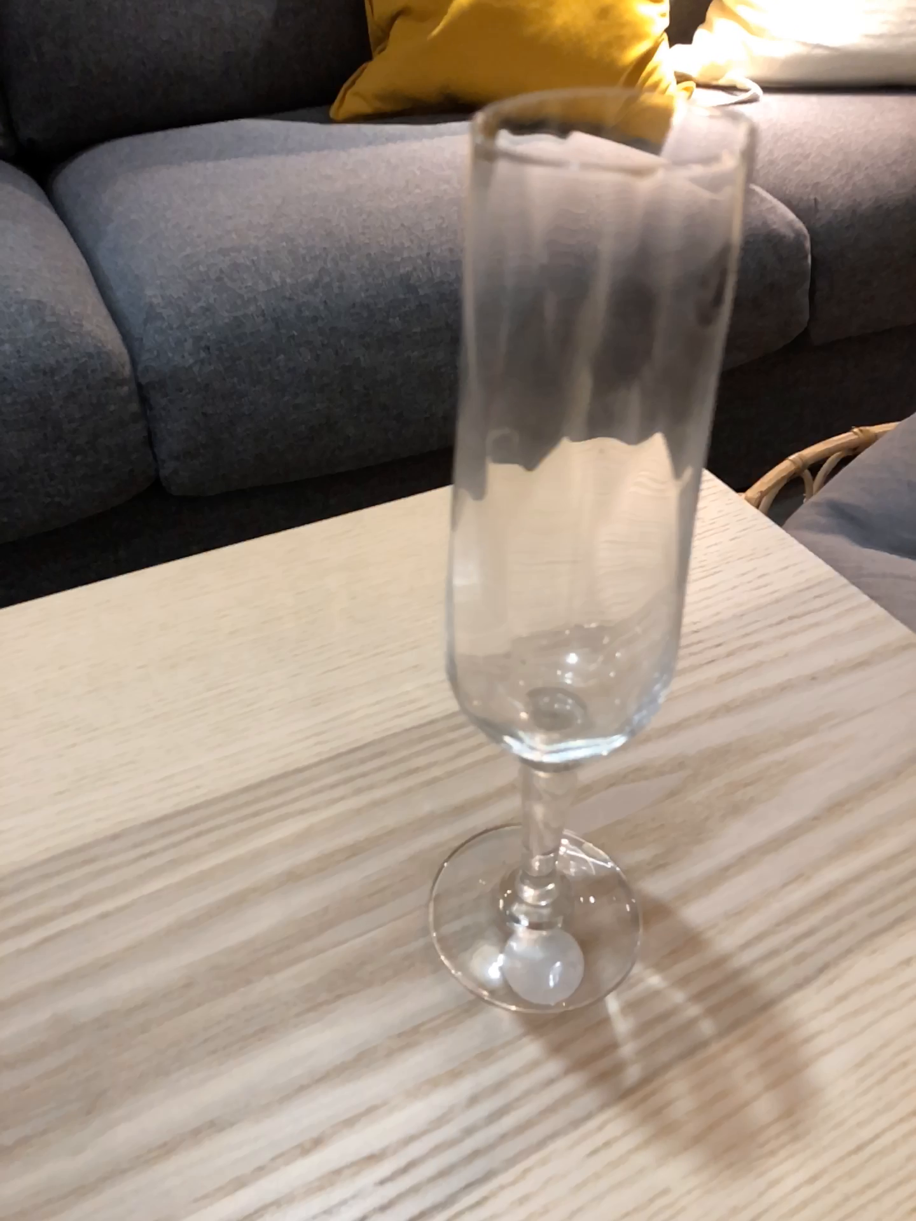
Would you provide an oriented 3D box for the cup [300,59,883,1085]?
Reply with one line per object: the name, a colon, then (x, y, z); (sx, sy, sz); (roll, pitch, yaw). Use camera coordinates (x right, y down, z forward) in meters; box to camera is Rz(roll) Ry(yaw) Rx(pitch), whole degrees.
cup: (0.027, 0.009, 0.251); (0.080, 0.239, 0.080); (0, 40, 0)
